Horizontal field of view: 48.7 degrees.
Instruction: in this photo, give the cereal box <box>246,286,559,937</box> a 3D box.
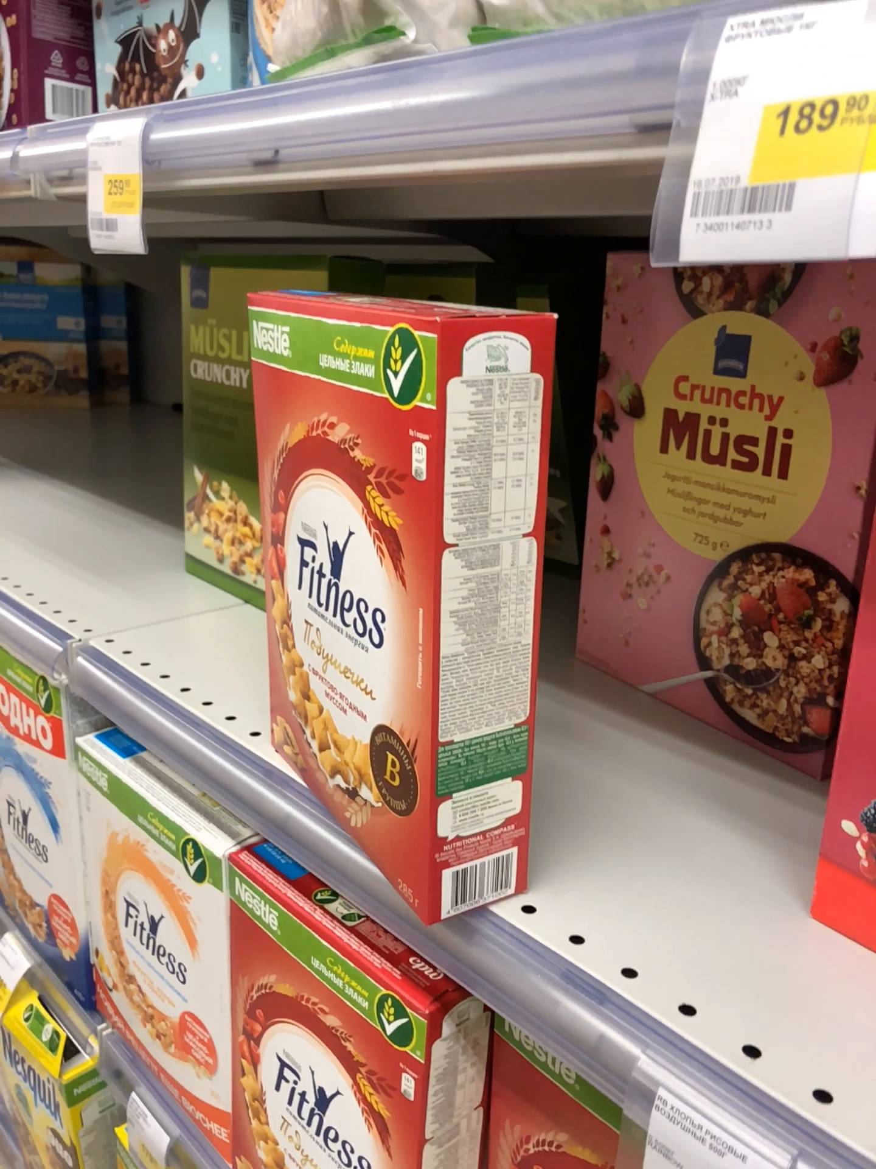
[{"bbox_3d":[-0.025,-0.004,0.430,0.050,0.239,0.181,-10,21,-28],"label":"cereal box"}]
